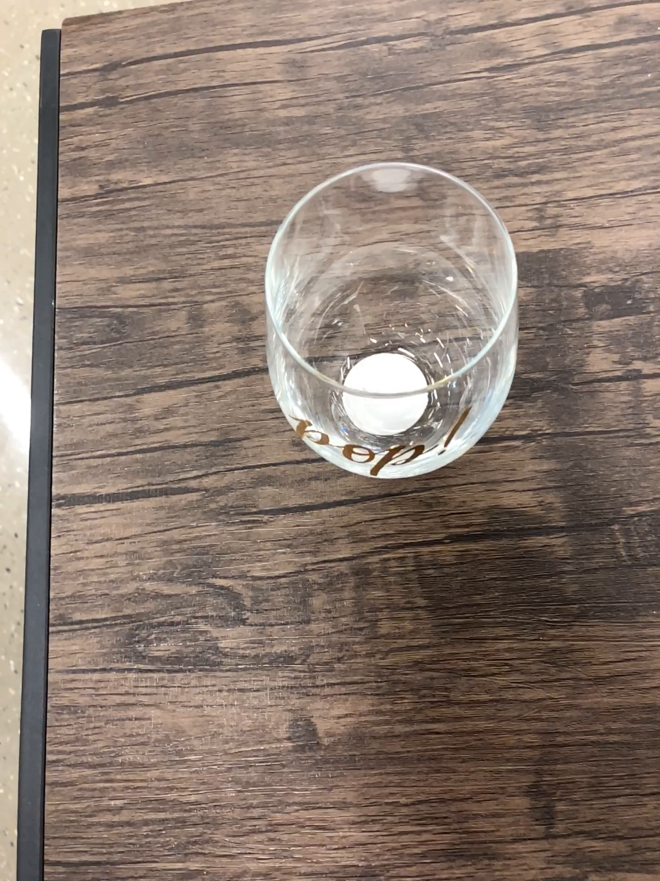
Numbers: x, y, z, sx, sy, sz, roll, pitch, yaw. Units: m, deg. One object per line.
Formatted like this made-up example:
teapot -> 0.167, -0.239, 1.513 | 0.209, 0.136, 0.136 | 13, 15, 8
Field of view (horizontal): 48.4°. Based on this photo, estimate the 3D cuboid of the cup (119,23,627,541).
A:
cup -> 0.016, -0.042, 0.266 | 0.100, 0.130, 0.100 | -1, 76, 5
